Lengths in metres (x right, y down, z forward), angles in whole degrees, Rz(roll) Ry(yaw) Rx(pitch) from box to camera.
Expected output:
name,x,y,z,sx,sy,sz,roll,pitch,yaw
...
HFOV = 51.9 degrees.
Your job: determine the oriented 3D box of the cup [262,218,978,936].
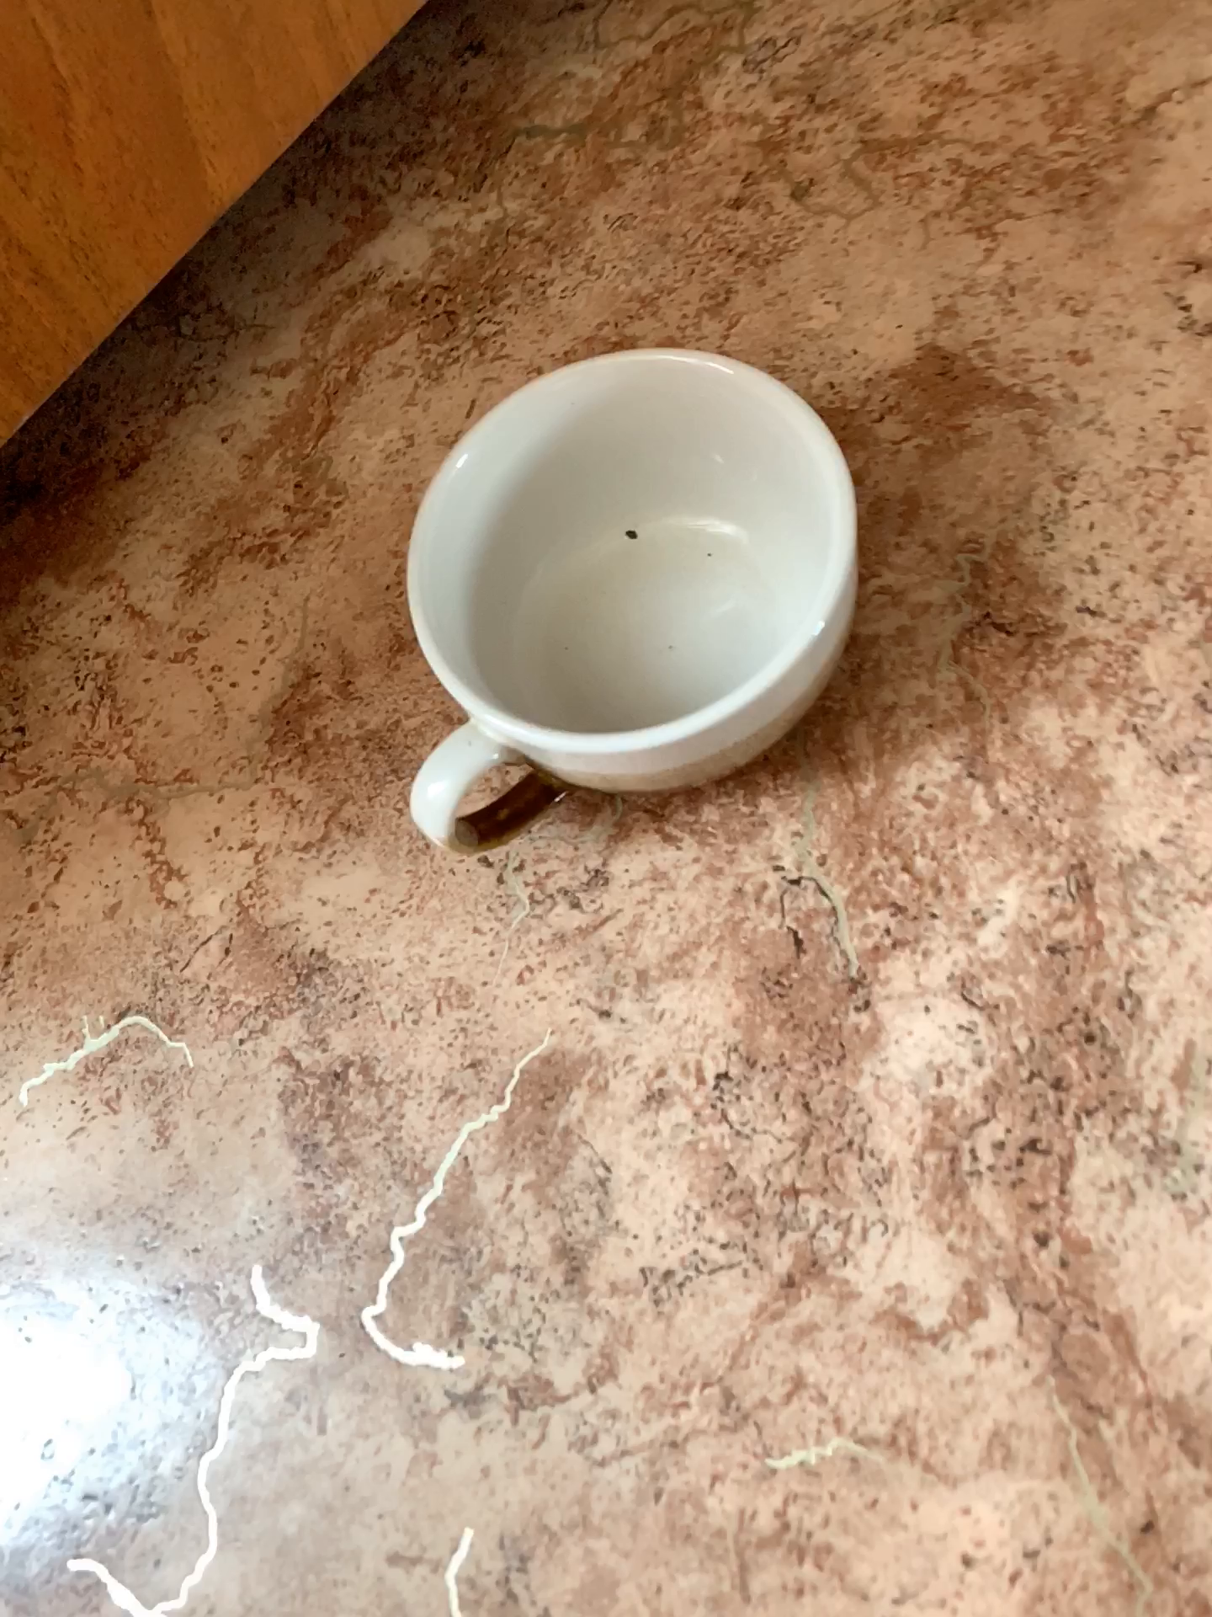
name,x,y,z,sx,sy,sz,roll,pitch,yaw
cup,0.006,-0.050,0.276,0.115,0.060,0.090,-45,68,-6
